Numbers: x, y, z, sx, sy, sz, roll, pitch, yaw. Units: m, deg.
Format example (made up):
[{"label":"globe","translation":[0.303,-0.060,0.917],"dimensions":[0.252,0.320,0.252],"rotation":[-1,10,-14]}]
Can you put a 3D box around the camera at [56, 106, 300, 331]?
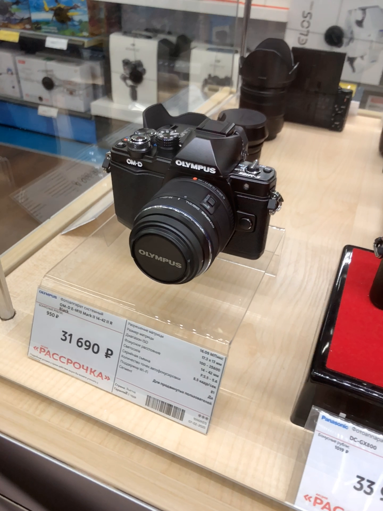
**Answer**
[{"label":"camera","translation":[-0.004,-0.033,0.287],"dimensions":[0.118,0.088,0.101],"rotation":[17,39,18]}]

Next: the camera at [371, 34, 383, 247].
[{"label":"camera","translation":[0.271,-0.106,0.356],"dimensions":[0.185,0.109,0.104],"rotation":[20,40,22]}]

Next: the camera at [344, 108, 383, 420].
[{"label":"camera","translation":[0.157,0.000,0.218],"dimensions":[0.118,0.109,0.073],"rotation":[17,39,18]}]
